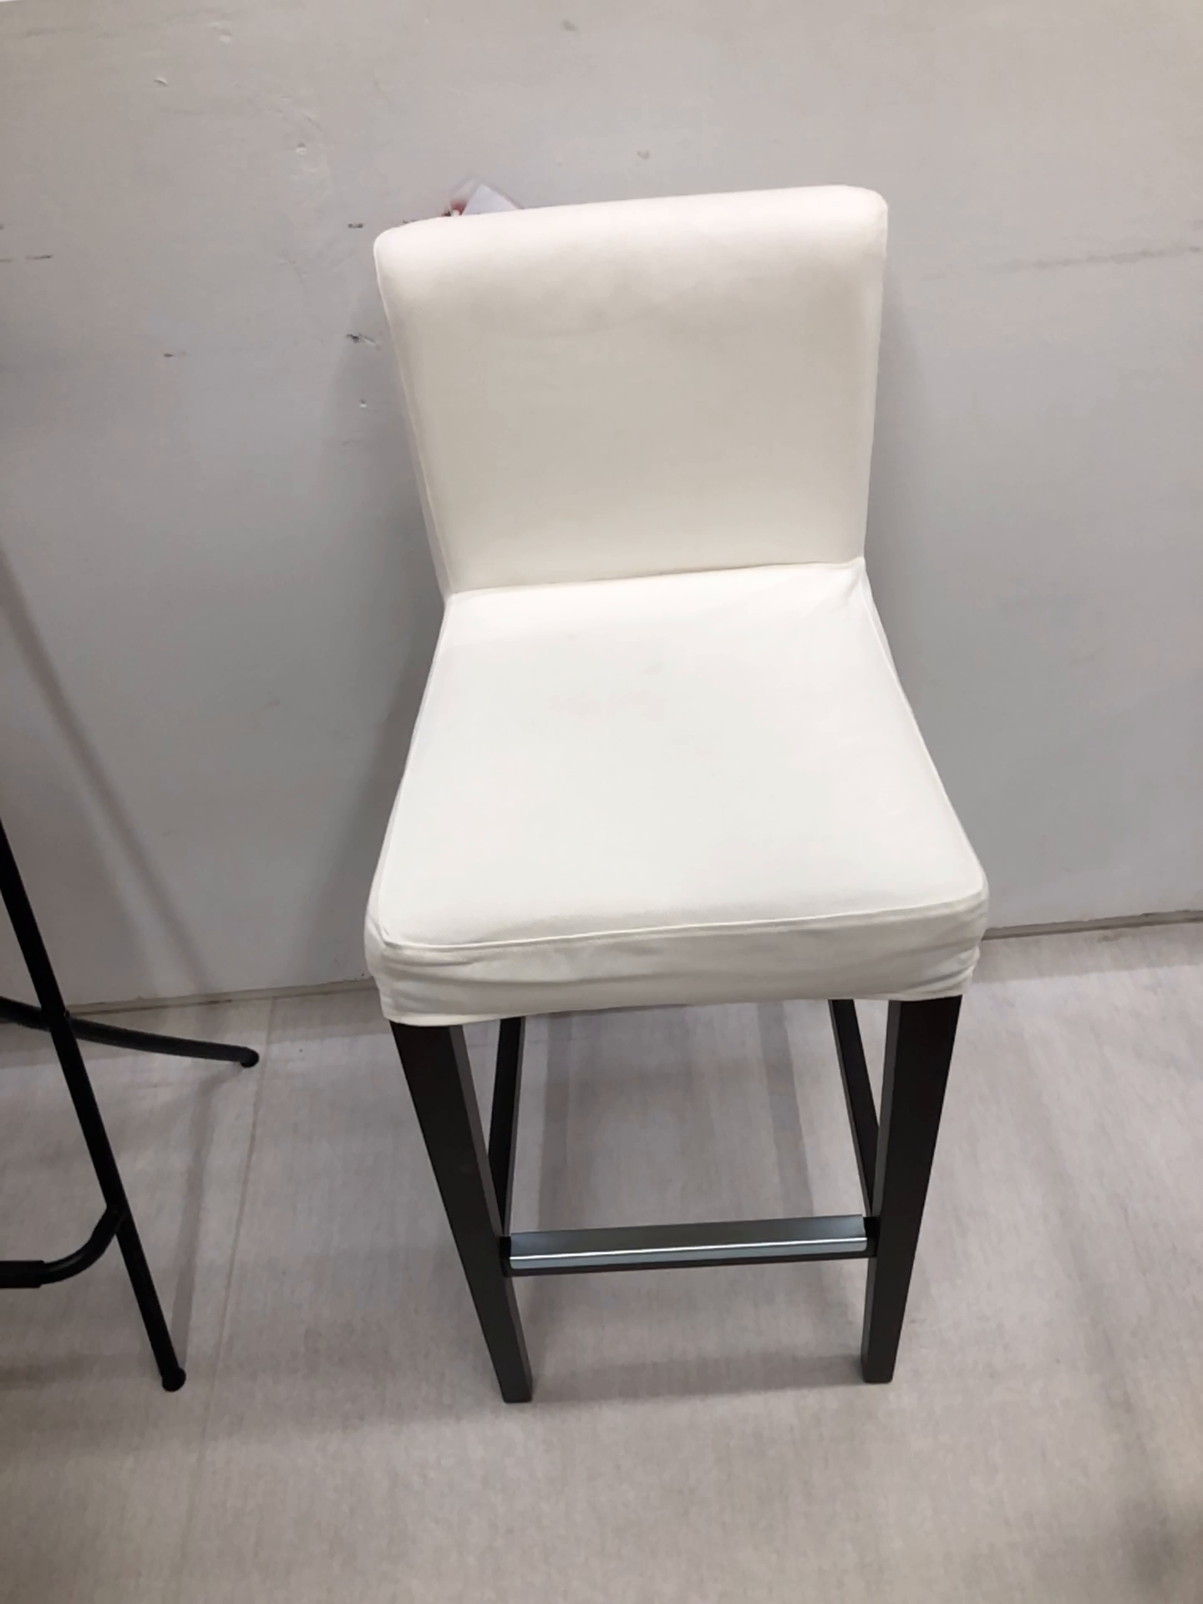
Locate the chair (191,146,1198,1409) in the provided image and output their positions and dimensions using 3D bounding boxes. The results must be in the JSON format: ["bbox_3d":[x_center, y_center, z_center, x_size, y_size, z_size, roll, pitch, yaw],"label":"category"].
[{"bbox_3d":[0.064,0.036,1.065,0.440,0.854,0.533,-5,44,2],"label":"chair"}]
